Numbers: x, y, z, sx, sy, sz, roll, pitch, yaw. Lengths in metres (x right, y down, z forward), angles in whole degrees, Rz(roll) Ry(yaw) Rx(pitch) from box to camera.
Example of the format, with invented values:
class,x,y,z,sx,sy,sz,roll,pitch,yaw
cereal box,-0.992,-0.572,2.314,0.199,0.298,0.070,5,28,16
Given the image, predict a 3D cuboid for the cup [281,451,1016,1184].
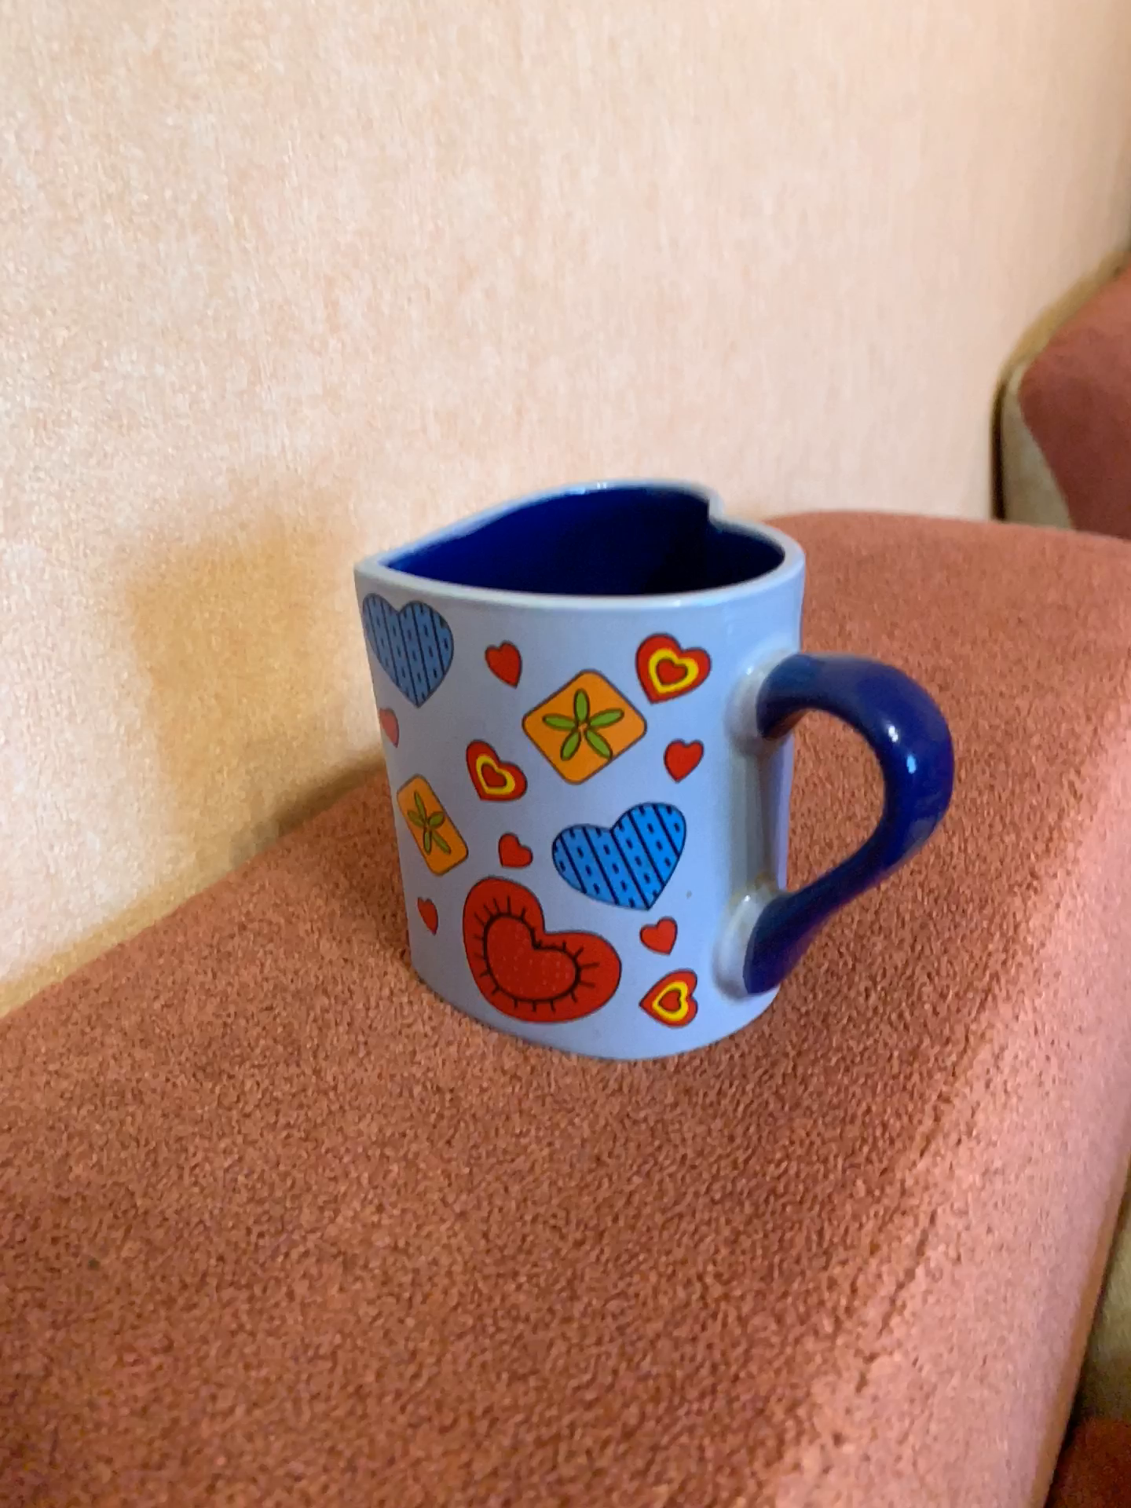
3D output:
class,x,y,z,sx,sy,sz,roll,pitch,yaw
cup,0.018,0.001,0.228,0.098,0.090,0.088,17,33,33
